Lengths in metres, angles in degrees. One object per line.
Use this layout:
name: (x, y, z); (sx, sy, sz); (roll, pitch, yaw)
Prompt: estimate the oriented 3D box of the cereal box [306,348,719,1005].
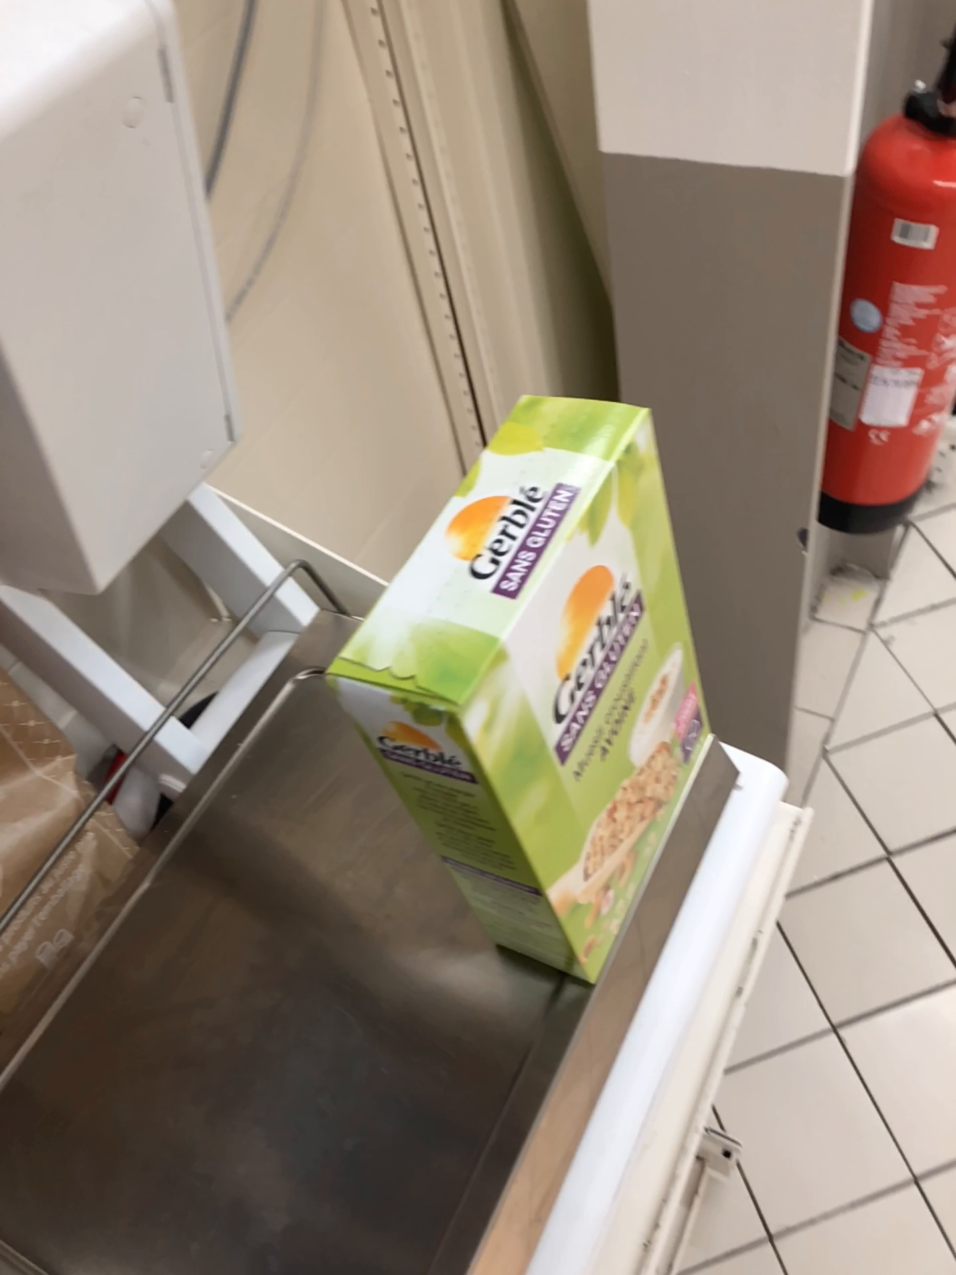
cereal box: (0.035, 0.028, 0.419); (0.050, 0.229, 0.151); (14, 58, 29)
